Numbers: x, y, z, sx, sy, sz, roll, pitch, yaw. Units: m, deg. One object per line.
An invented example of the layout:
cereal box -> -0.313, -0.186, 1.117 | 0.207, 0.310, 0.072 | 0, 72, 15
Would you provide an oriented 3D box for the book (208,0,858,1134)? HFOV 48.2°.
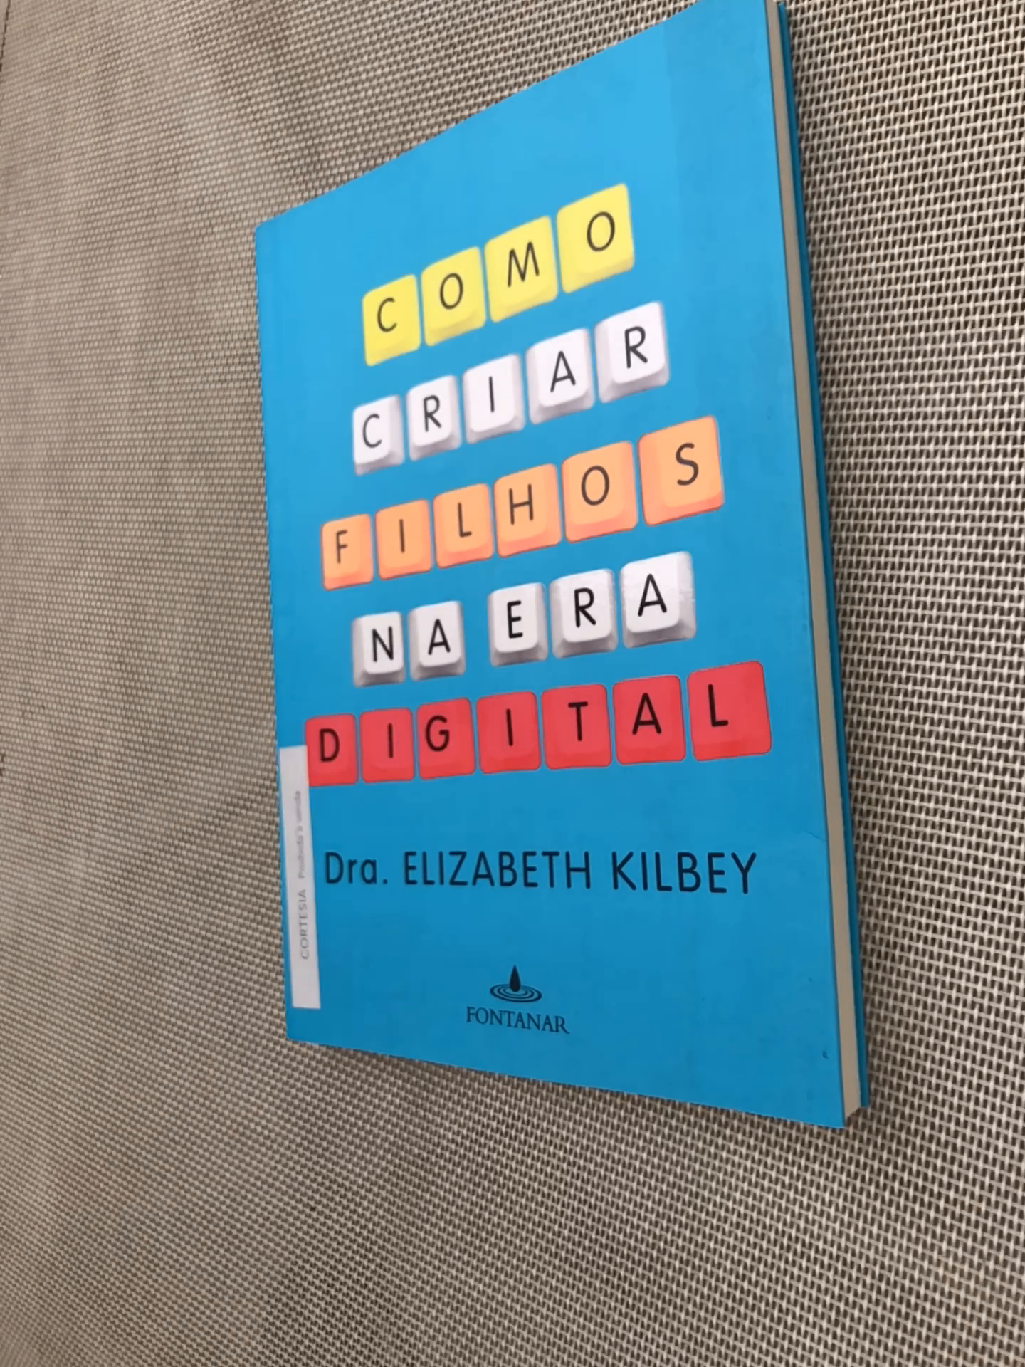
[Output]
book -> -0.010, -0.025, 0.273 | 0.163, 0.020, 0.228 | -7, 84, 37
